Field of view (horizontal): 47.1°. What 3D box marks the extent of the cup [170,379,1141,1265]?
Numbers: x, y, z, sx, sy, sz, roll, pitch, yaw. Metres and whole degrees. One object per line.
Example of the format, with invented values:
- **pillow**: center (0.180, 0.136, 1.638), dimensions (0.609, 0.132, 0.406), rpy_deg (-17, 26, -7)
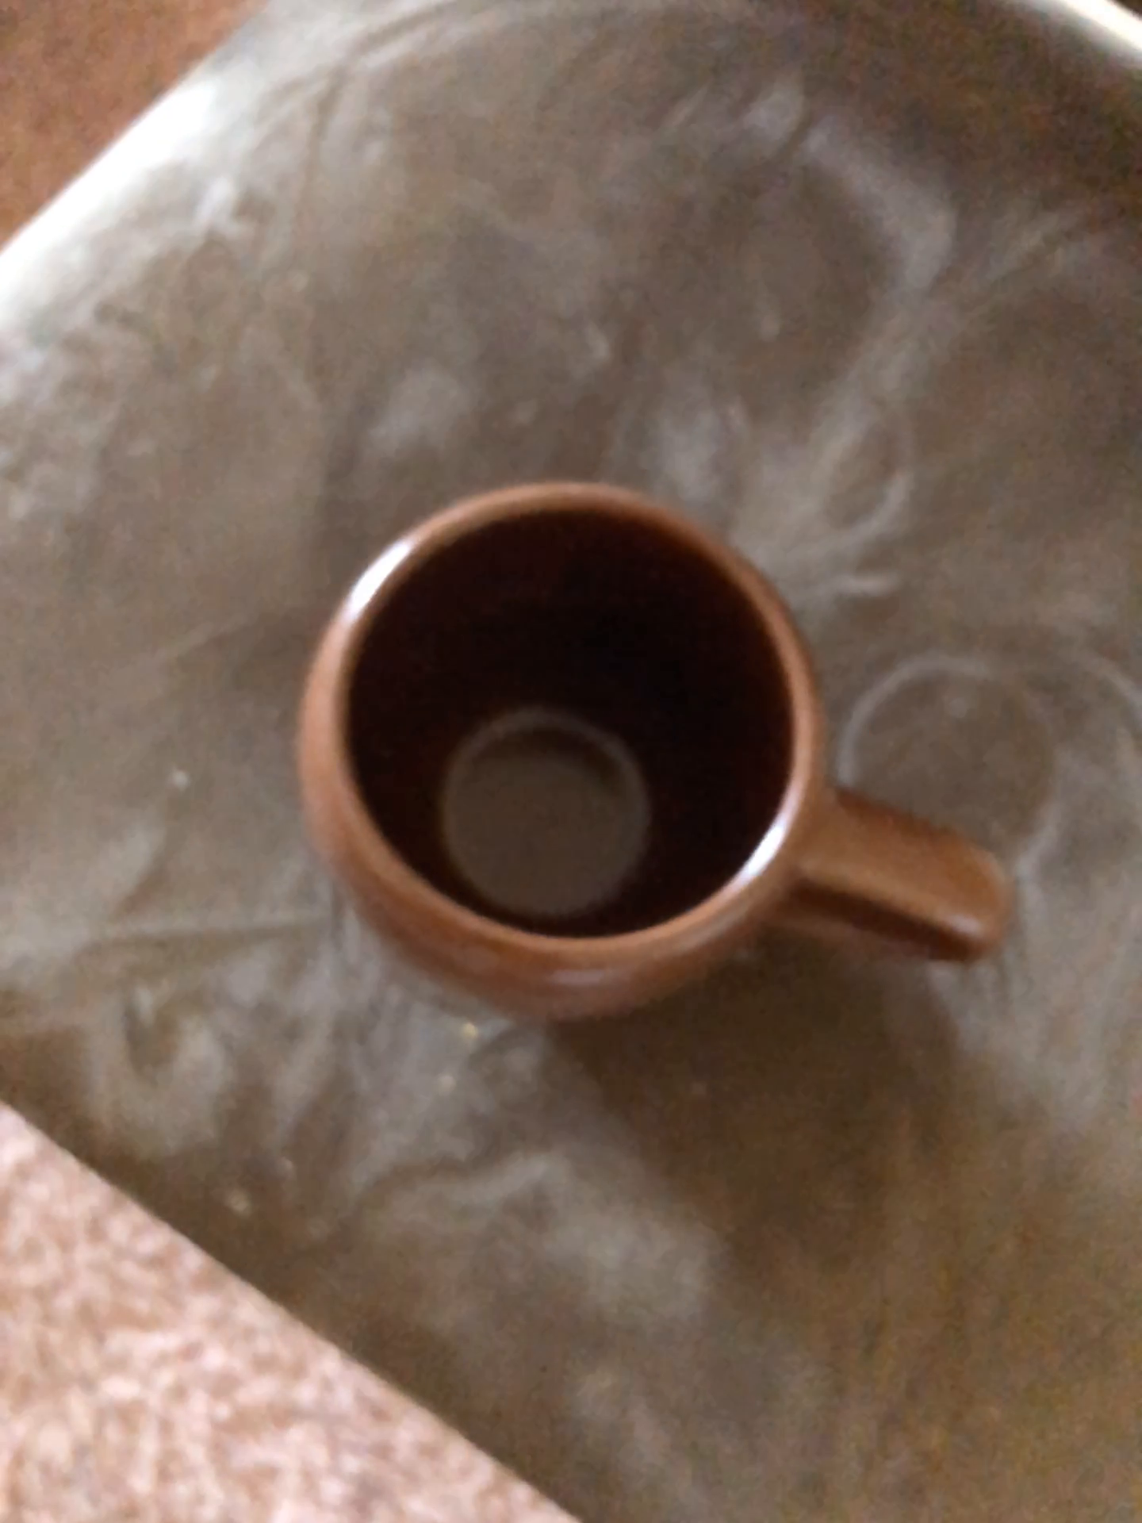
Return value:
- **cup**: center (0.015, 0.016, 0.260), dimensions (0.140, 0.100, 0.090), rpy_deg (27, 78, -2)
